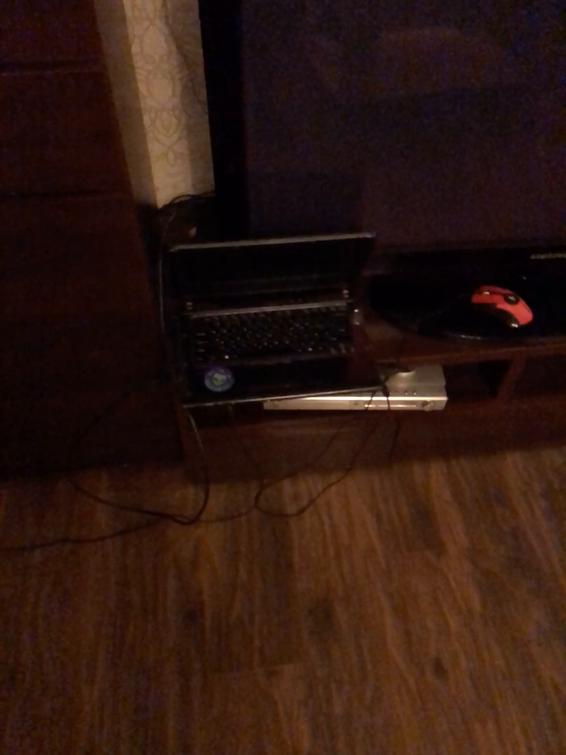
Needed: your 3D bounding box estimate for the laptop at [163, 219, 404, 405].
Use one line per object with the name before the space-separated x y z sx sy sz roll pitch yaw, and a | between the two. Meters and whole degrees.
laptop | -0.009 -0.107 1.011 0.336 0.183 0.200 -6 52 -7
